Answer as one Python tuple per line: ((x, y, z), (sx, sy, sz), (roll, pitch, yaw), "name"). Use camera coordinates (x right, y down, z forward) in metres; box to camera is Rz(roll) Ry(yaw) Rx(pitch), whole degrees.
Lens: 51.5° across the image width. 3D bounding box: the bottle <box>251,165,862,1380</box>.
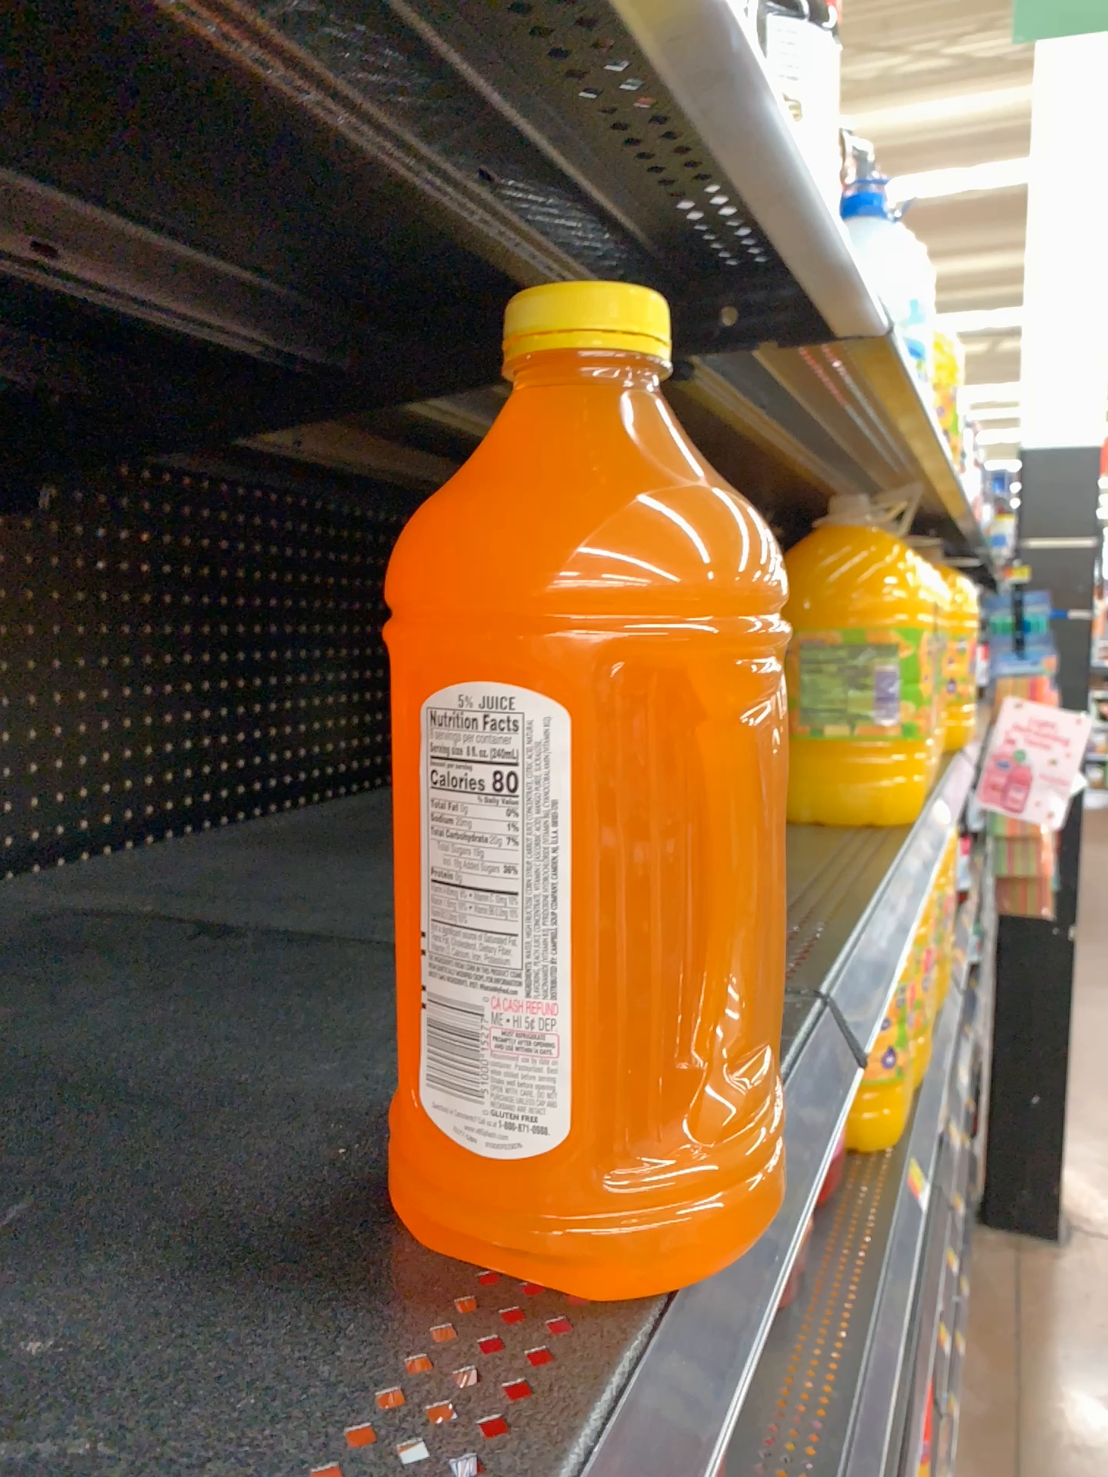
((0.008, 0.004, 0.326), (0.128, 0.260, 0.125), (1, 6, 0), "bottle")
